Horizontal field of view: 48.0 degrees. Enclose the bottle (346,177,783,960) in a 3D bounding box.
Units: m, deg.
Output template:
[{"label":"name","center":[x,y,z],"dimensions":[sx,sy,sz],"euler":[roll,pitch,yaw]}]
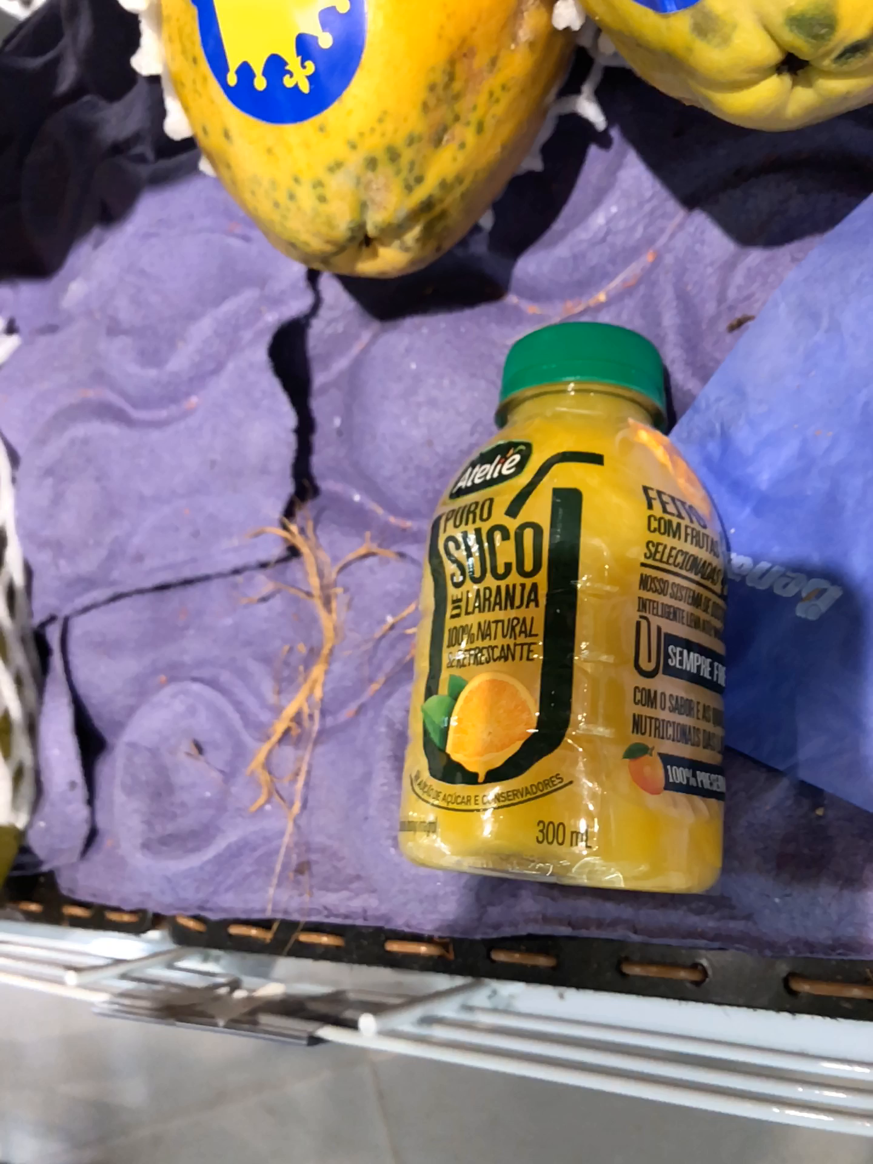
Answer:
[{"label":"bottle","center":[0.030,0.000,0.217],"dimensions":[0.070,0.060,0.140],"euler":[-5,78,37]}]
